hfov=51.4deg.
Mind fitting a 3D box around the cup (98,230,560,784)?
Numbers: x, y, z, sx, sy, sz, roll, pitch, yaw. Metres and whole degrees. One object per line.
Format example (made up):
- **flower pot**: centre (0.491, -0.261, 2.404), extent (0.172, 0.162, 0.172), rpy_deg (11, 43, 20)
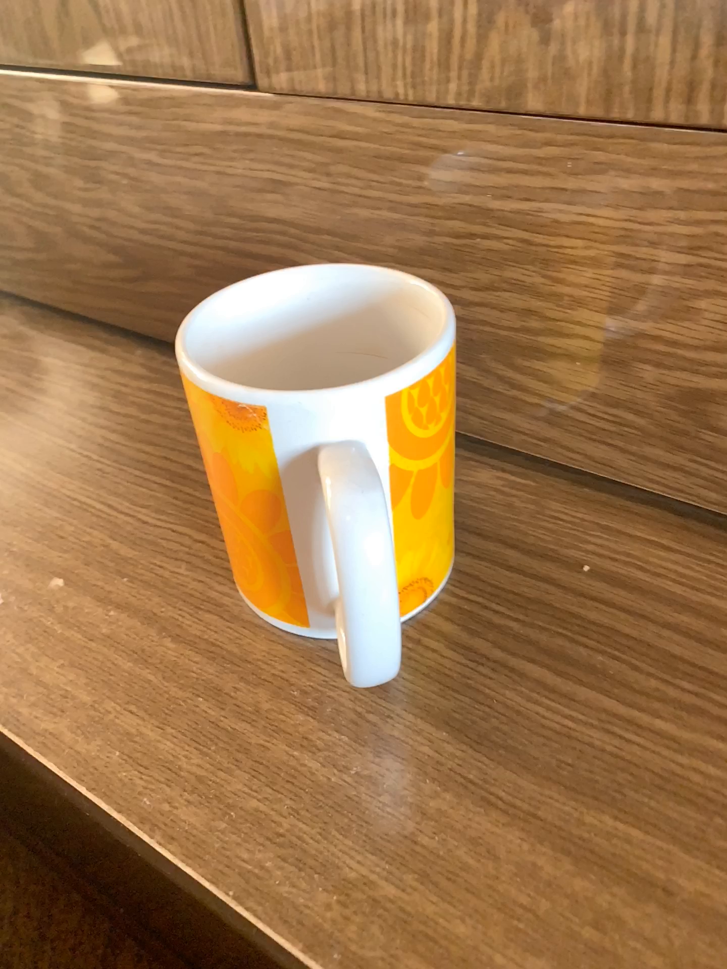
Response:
- **cup**: centre (-0.010, -0.001, 0.225), extent (0.090, 0.097, 0.124), rpy_deg (-7, 39, -3)
